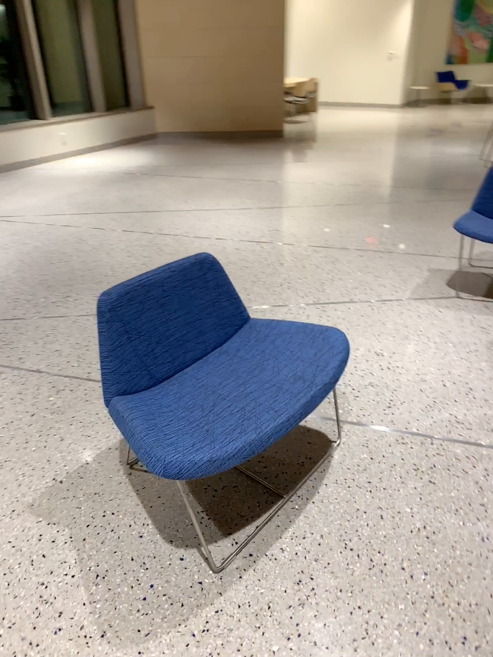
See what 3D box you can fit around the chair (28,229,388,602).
[{"bbox_3d":[-0.066,0.173,1.741,0.663,0.699,0.945,20,35,34],"label":"chair"}]
